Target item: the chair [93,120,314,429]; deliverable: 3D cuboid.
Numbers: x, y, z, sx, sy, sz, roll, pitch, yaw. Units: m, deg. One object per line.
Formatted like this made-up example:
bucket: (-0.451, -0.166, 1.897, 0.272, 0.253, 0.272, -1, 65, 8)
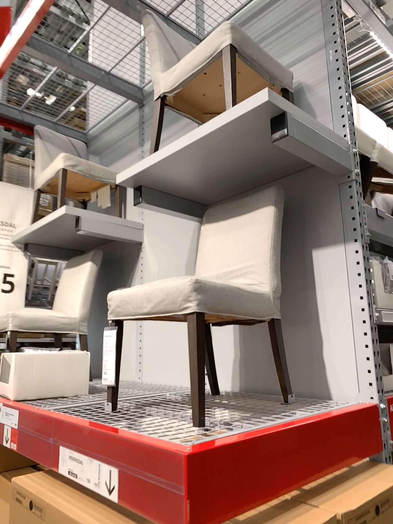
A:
chair: (0.030, 0.085, 1.685, 0.559, 0.983, 0.669, -13, -17, 43)
